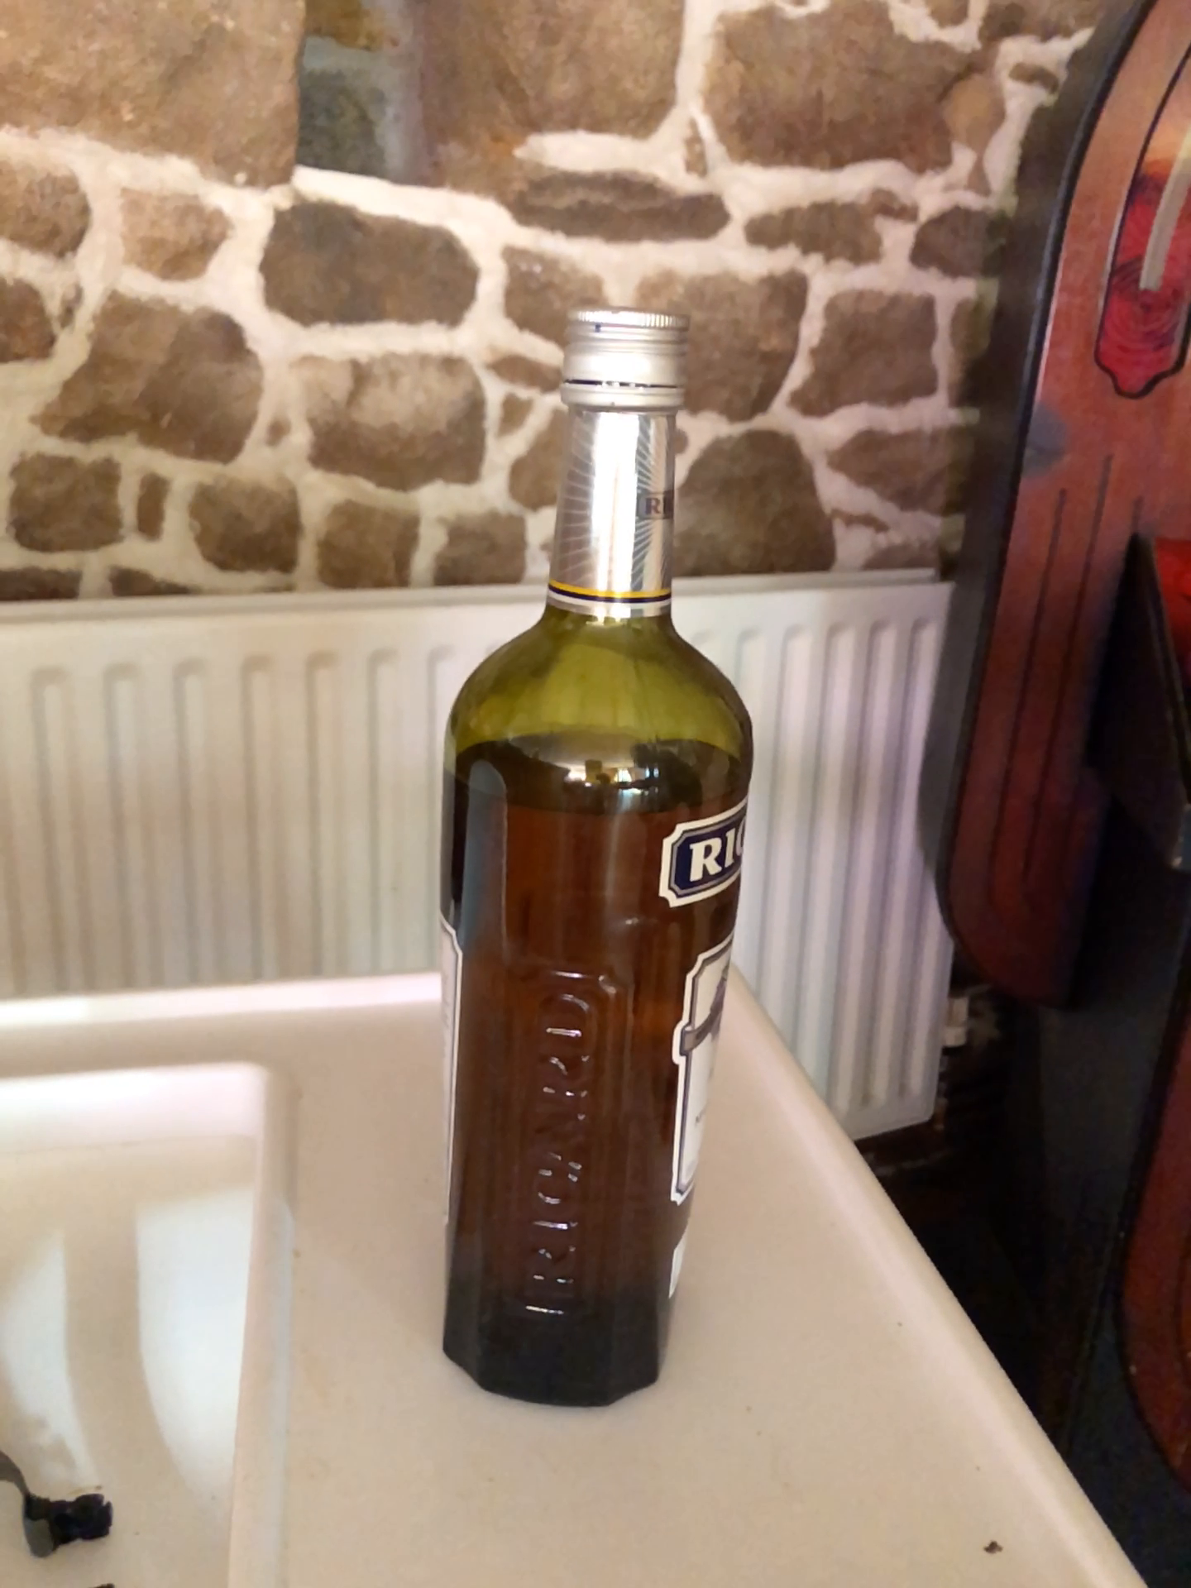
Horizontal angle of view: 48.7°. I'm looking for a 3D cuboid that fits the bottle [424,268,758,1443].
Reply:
[{"bbox_3d":[-0.002,0.020,0.362,0.070,0.299,0.090,4,18,5],"label":"bottle"}]
